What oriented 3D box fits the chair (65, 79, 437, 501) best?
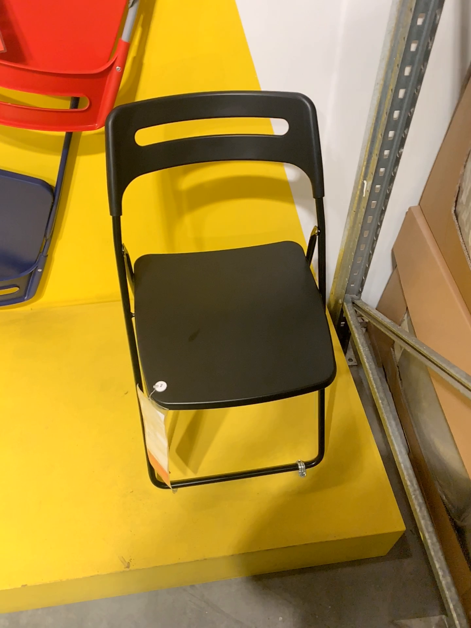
[{"bbox_3d":[-0.006,-0.009,0.963,0.440,0.698,0.442,-6,48,-6],"label":"chair"}]
